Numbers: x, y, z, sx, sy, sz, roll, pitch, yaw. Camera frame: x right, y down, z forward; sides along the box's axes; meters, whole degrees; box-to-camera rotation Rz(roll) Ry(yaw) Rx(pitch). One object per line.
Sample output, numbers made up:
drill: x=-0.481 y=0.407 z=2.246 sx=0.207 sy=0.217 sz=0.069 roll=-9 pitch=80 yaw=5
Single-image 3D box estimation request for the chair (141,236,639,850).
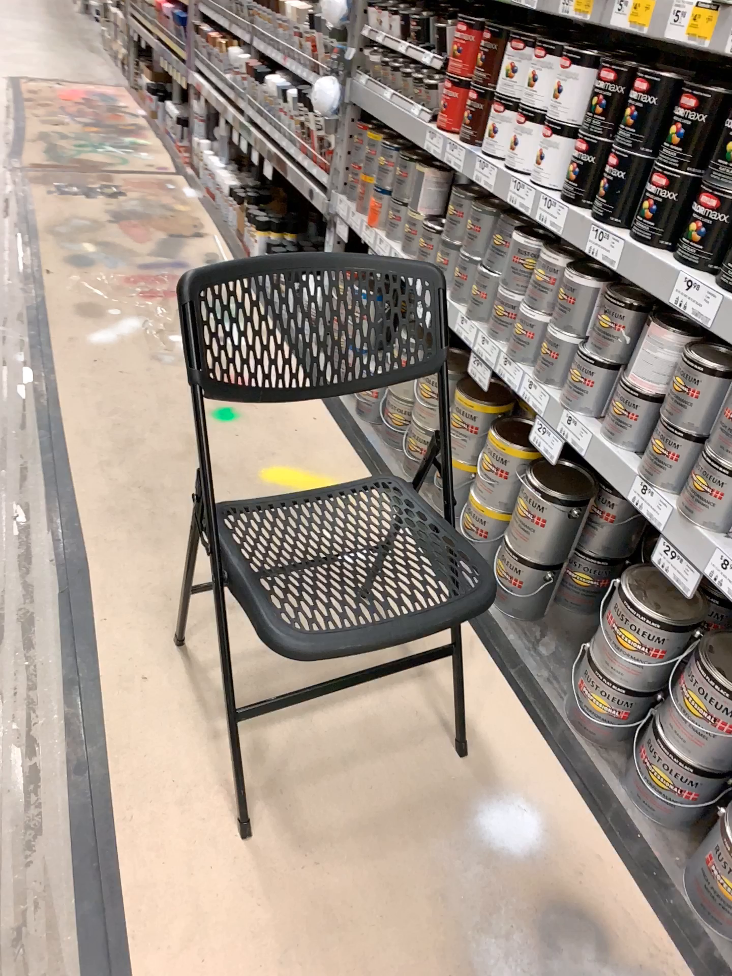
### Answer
chair: x=-0.044 y=0.071 z=1.266 sx=0.519 sy=0.814 sz=0.517 roll=-10 pitch=40 yaw=-25
